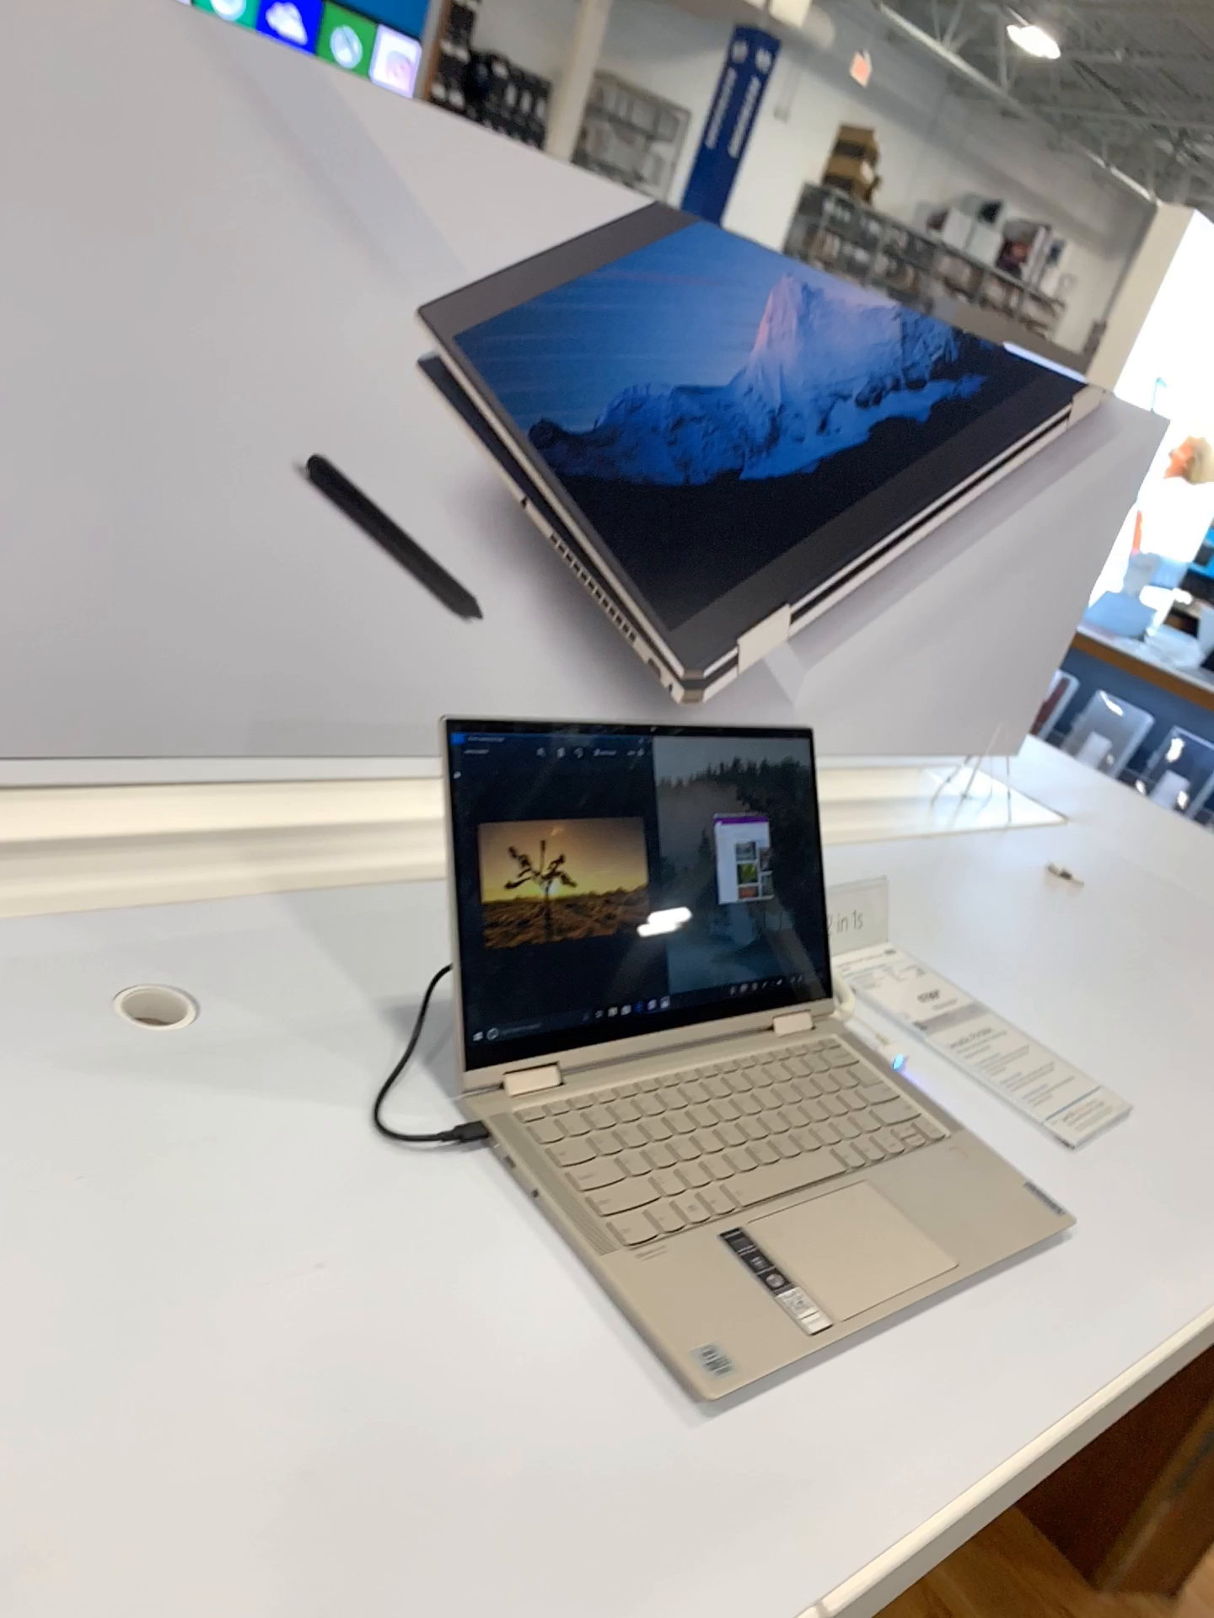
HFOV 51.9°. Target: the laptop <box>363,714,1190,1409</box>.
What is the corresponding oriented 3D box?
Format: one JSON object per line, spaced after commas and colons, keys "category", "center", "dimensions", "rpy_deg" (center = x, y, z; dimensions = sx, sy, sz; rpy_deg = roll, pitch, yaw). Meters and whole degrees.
{"category": "laptop", "center": [0.086, 0.098, 0.722], "dimensions": [0.309, 0.170, 0.329], "rpy_deg": [-2, 30, -41]}
